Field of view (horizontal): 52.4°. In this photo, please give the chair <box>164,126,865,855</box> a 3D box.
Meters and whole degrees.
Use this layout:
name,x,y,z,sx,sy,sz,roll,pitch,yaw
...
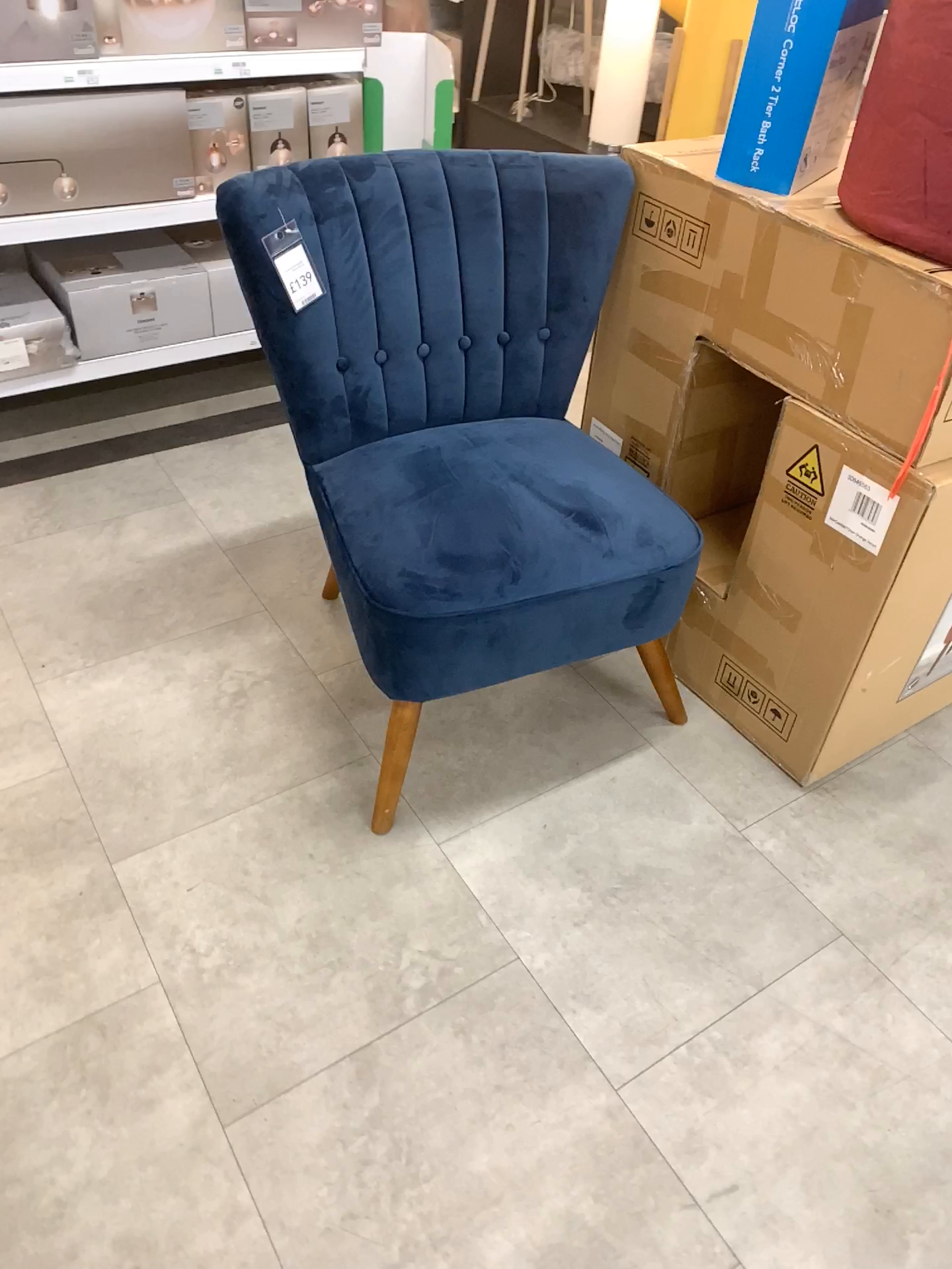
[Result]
name,x,y,z,sx,sy,sz,roll,pitch,yaw
chair,-0.012,-0.278,1.566,0.692,0.792,0.726,-16,45,-23
